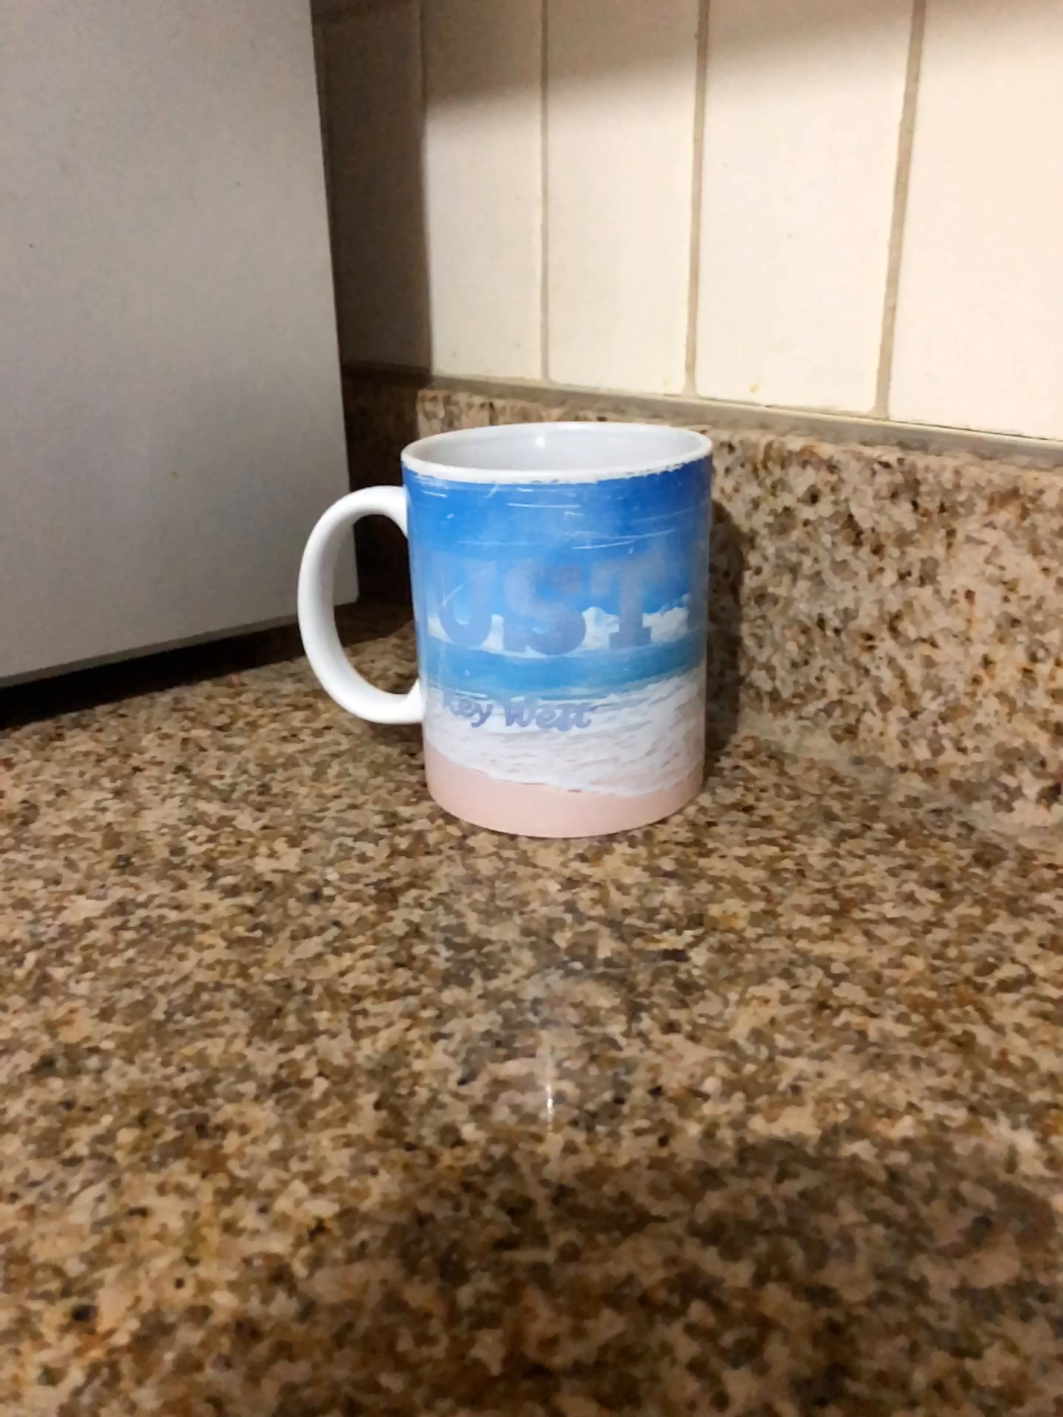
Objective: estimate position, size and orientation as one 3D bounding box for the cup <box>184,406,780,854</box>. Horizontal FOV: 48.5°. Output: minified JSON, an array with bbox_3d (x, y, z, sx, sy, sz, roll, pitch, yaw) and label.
[{"bbox_3d":[-0.007,-0.030,0.320,0.130,0.090,0.090,6,21,18],"label":"cup"}]
